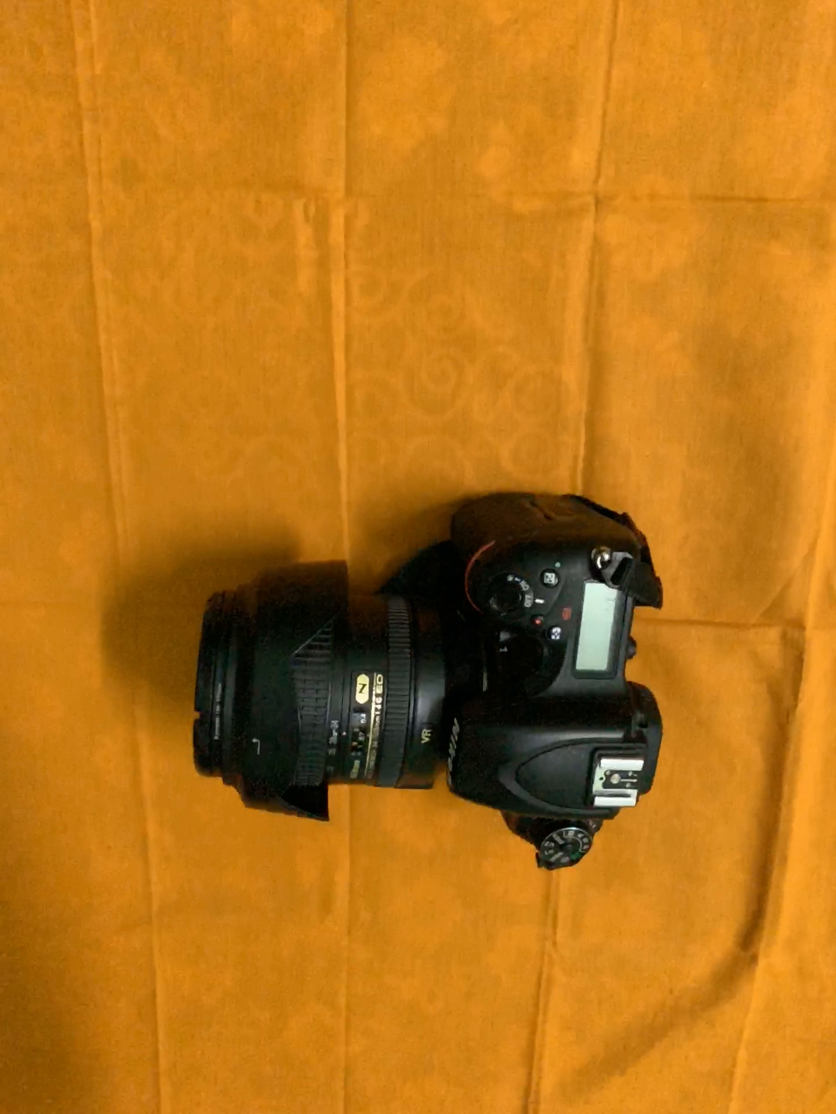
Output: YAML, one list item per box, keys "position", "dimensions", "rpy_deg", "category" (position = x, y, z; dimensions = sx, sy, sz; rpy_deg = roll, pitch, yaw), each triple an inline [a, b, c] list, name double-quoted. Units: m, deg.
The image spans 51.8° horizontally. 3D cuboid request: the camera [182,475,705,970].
- position: [0.007, 0.057, 0.352]
  dimensions: [0.170, 0.110, 0.152]
  rpy_deg: [5, 106, 4]
  category: "camera"
